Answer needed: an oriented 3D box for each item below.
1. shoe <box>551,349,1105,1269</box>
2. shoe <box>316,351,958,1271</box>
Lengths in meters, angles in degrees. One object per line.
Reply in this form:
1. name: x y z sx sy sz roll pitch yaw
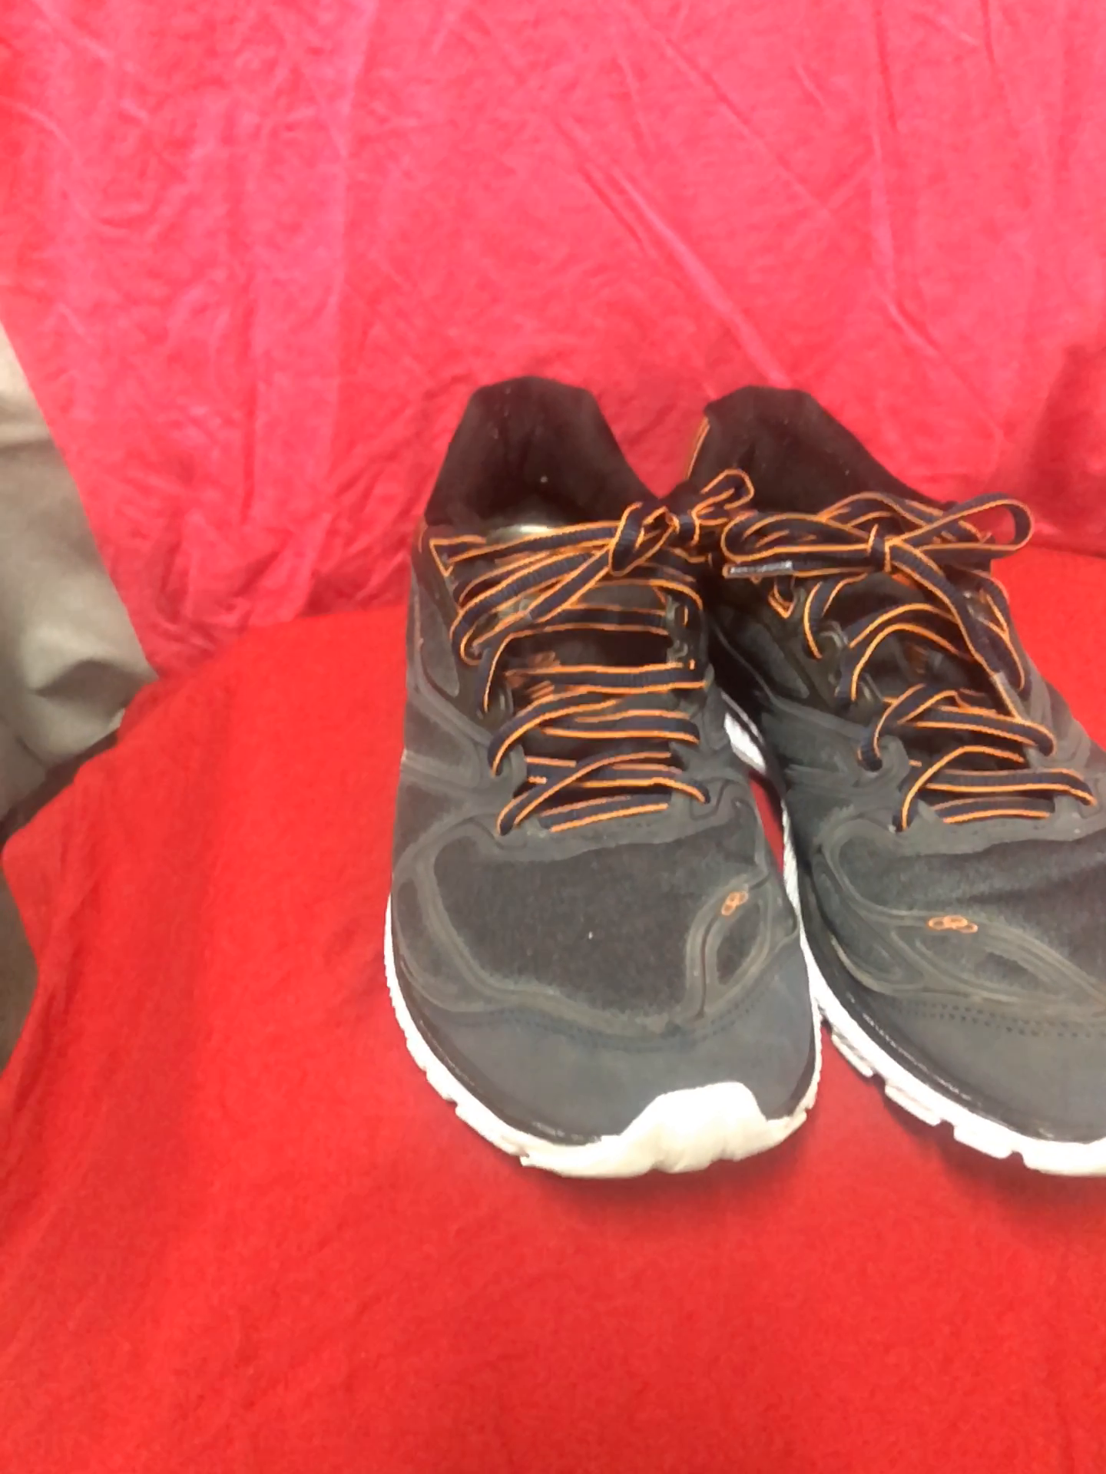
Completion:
1. shoe: 0.088 -0.013 0.362 0.110 0.099 0.282 -10 37 -10
2. shoe: 0.001 -0.013 0.346 0.110 0.089 0.283 -6 37 -4
